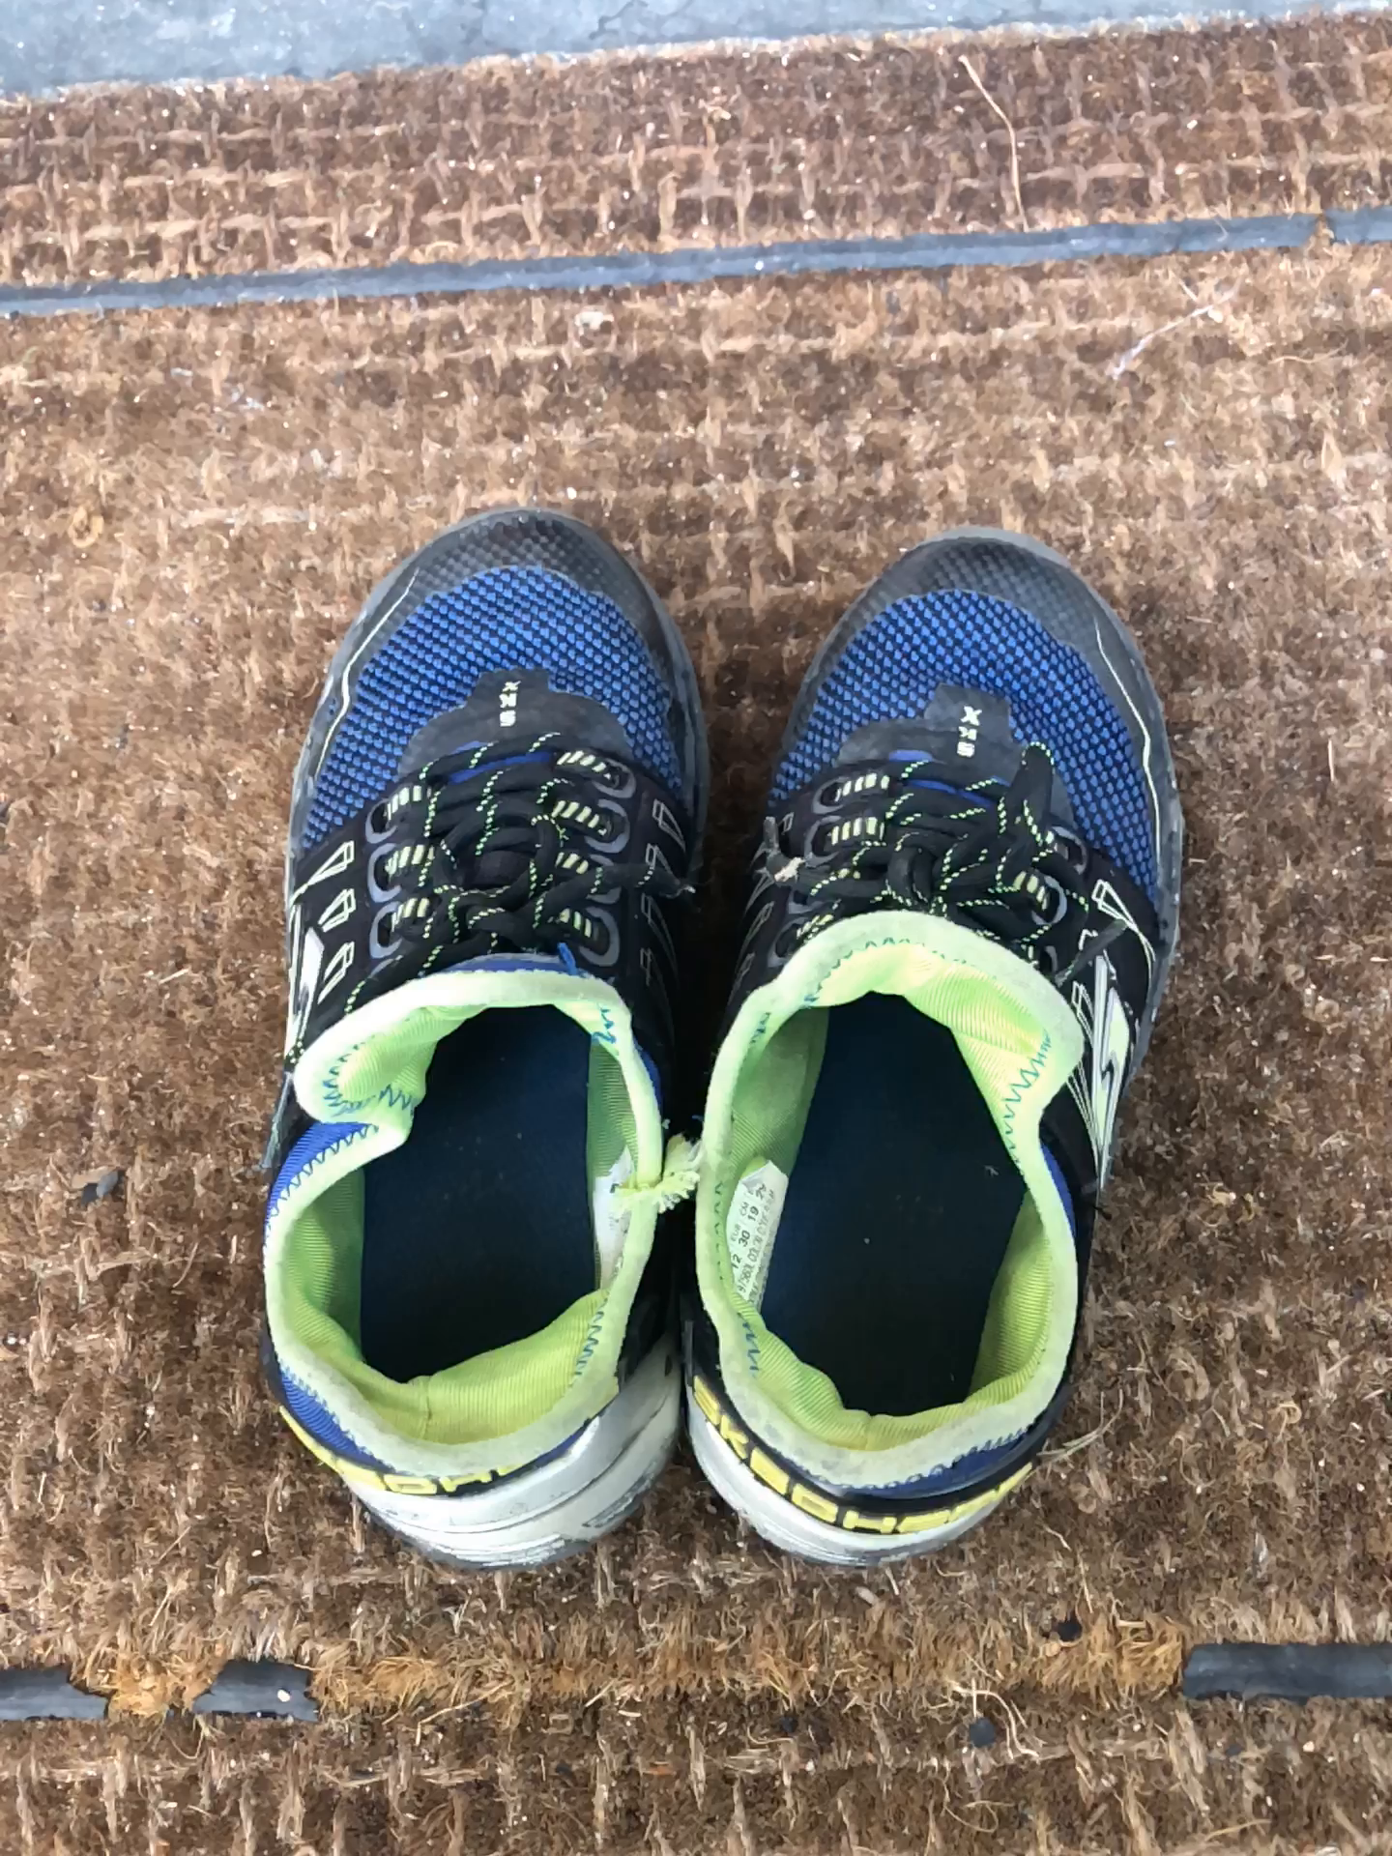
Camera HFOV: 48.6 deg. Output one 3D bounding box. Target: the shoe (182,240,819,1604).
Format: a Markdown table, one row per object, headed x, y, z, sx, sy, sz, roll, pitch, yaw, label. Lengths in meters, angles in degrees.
| x | y | z | sx | sy | sz | roll | pitch | yaw | label |
| --- | --- | --- | --- | --- | --- | --- | --- | --- | --- |
| -0.036 | -0.001 | 0.302 | 0.090 | 0.100 | 0.231 | -7 | 70 | 1 | shoe |

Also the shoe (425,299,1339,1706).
| x | y | z | sx | sy | sz | roll | pitch | yaw | label |
| --- | --- | --- | --- | --- | --- | --- | --- | --- | --- |
| 0.038 | 0.010 | 0.274 | 0.090 | 0.100 | 0.200 | 14 | 72 | 9 | shoe |
